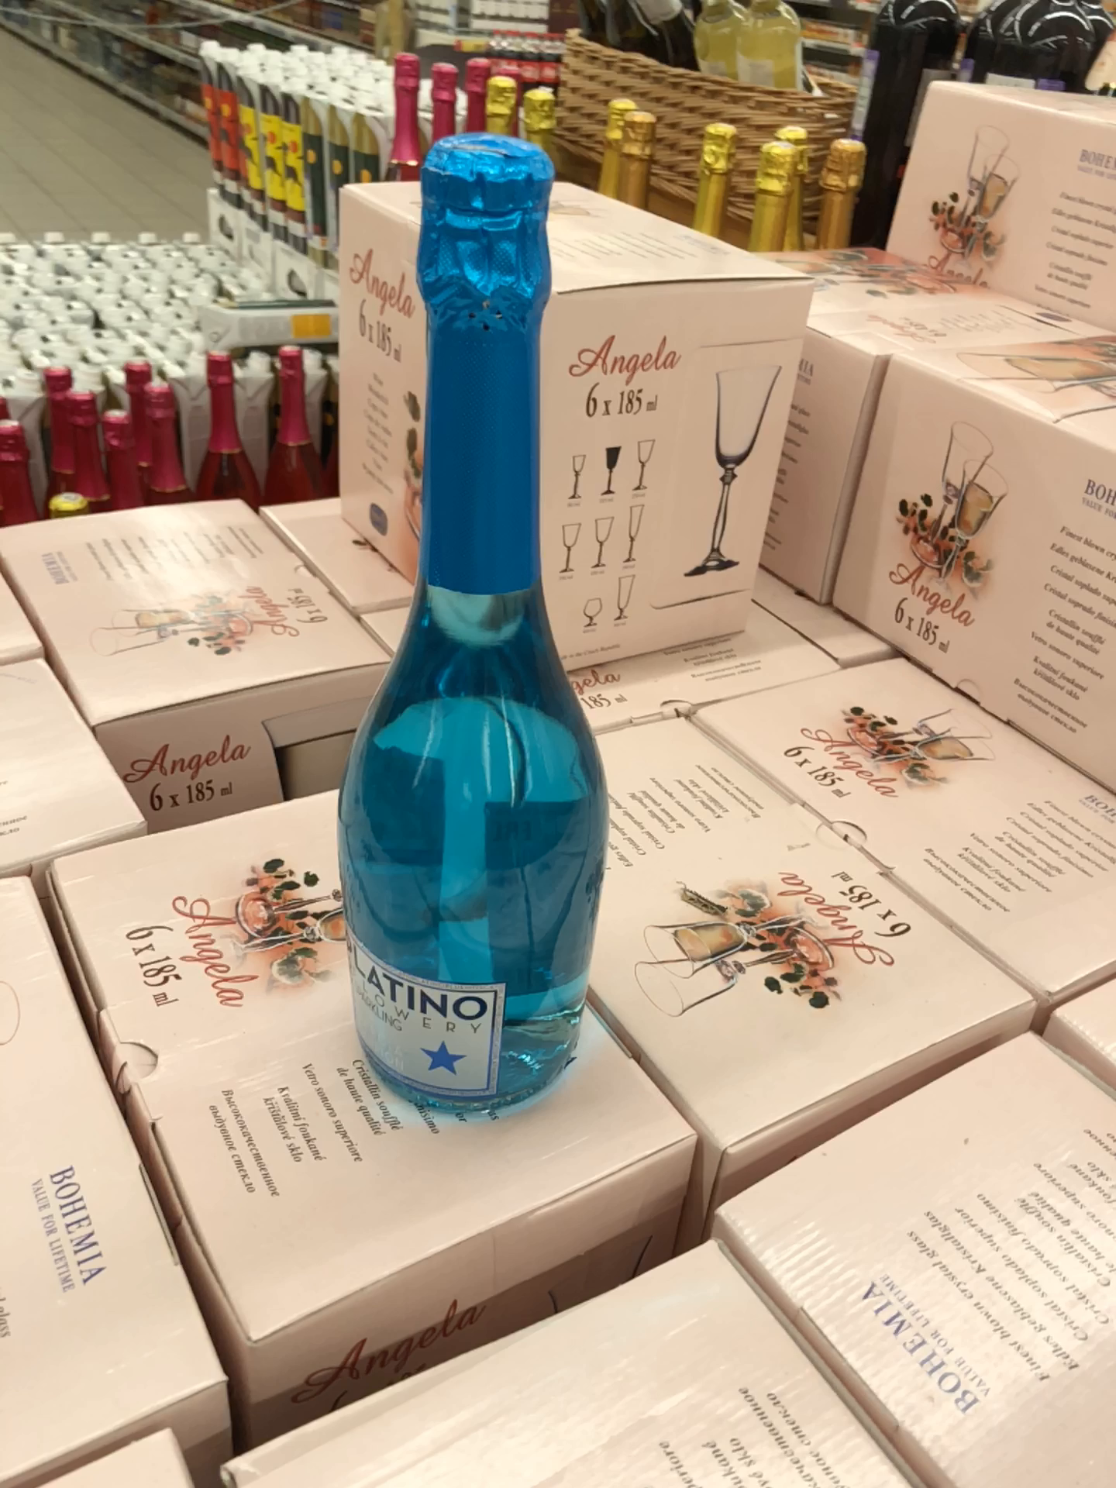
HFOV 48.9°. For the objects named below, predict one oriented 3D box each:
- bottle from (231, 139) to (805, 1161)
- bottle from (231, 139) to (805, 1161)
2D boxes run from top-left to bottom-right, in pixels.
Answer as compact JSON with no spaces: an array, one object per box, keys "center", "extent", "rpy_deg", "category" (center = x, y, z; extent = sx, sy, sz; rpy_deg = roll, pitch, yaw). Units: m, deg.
[{"center":[-0.021,-0.022,0.377],"extent":[0.100,0.278,0.100],"rpy_deg":[4,33,-3],"category":"bottle"},{"center":[-0.021,-0.022,0.377],"extent":[0.100,0.278,0.100],"rpy_deg":[4,33,-3],"category":"bottle"}]
